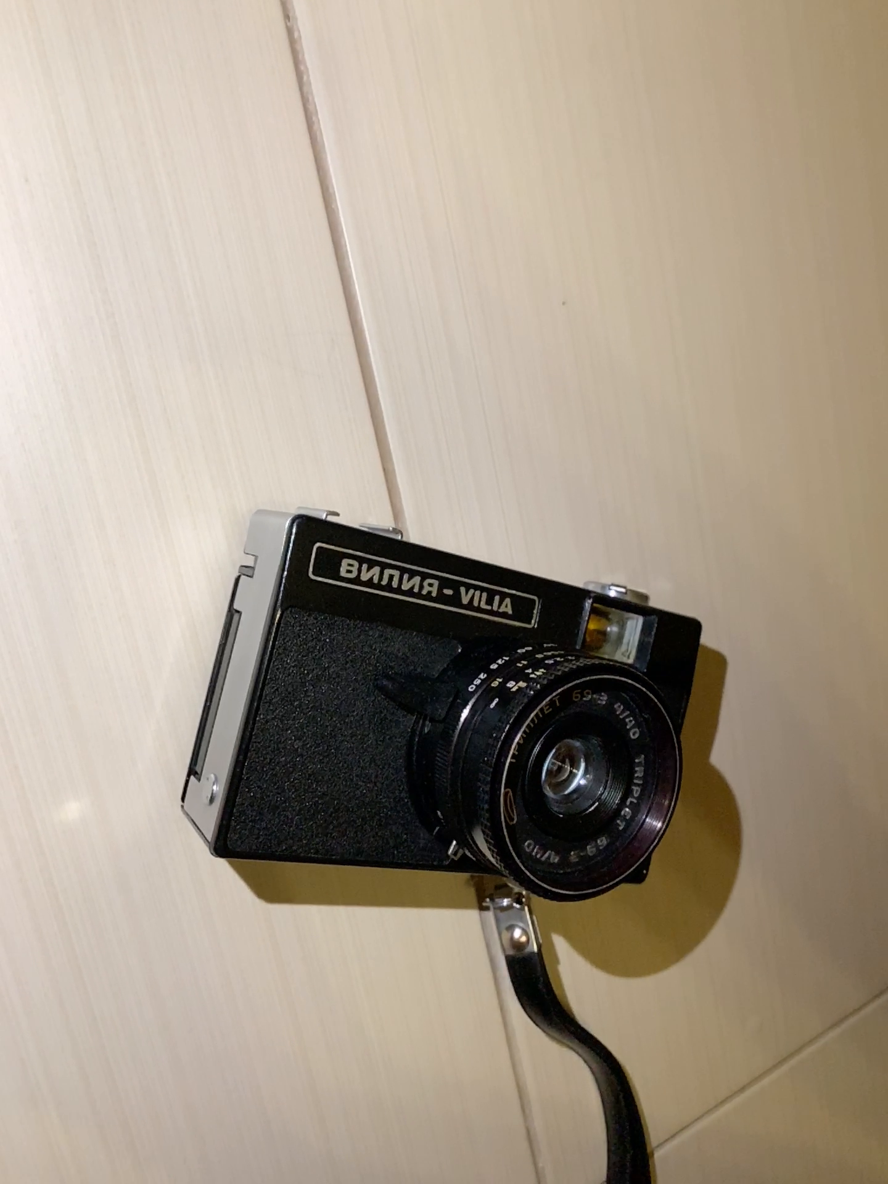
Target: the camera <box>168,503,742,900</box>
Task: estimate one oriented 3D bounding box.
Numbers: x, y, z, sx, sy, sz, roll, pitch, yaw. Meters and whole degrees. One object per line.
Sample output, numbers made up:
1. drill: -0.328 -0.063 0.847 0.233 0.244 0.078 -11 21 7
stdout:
1. camera: 0.006 0.029 0.230 0.125 0.041 0.072 14 90 -27
